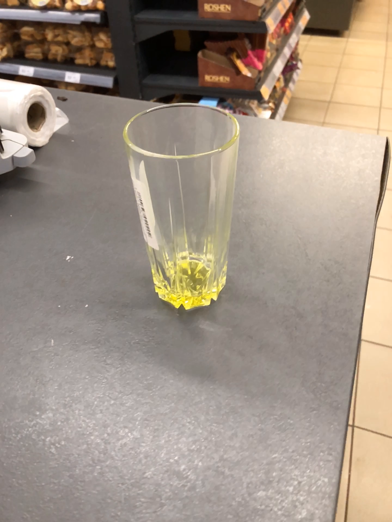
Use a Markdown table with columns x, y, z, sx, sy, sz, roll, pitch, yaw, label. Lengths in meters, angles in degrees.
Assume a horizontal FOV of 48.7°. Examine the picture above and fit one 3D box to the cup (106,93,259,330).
| x | y | z | sx | sy | sz | roll | pitch | yaw | label |
| --- | --- | --- | --- | --- | --- | --- | --- | --- | --- |
| -0.009 | -0.032 | 0.302 | 0.070 | 0.134 | 0.075 | -1 | 43 | 1 | cup |
